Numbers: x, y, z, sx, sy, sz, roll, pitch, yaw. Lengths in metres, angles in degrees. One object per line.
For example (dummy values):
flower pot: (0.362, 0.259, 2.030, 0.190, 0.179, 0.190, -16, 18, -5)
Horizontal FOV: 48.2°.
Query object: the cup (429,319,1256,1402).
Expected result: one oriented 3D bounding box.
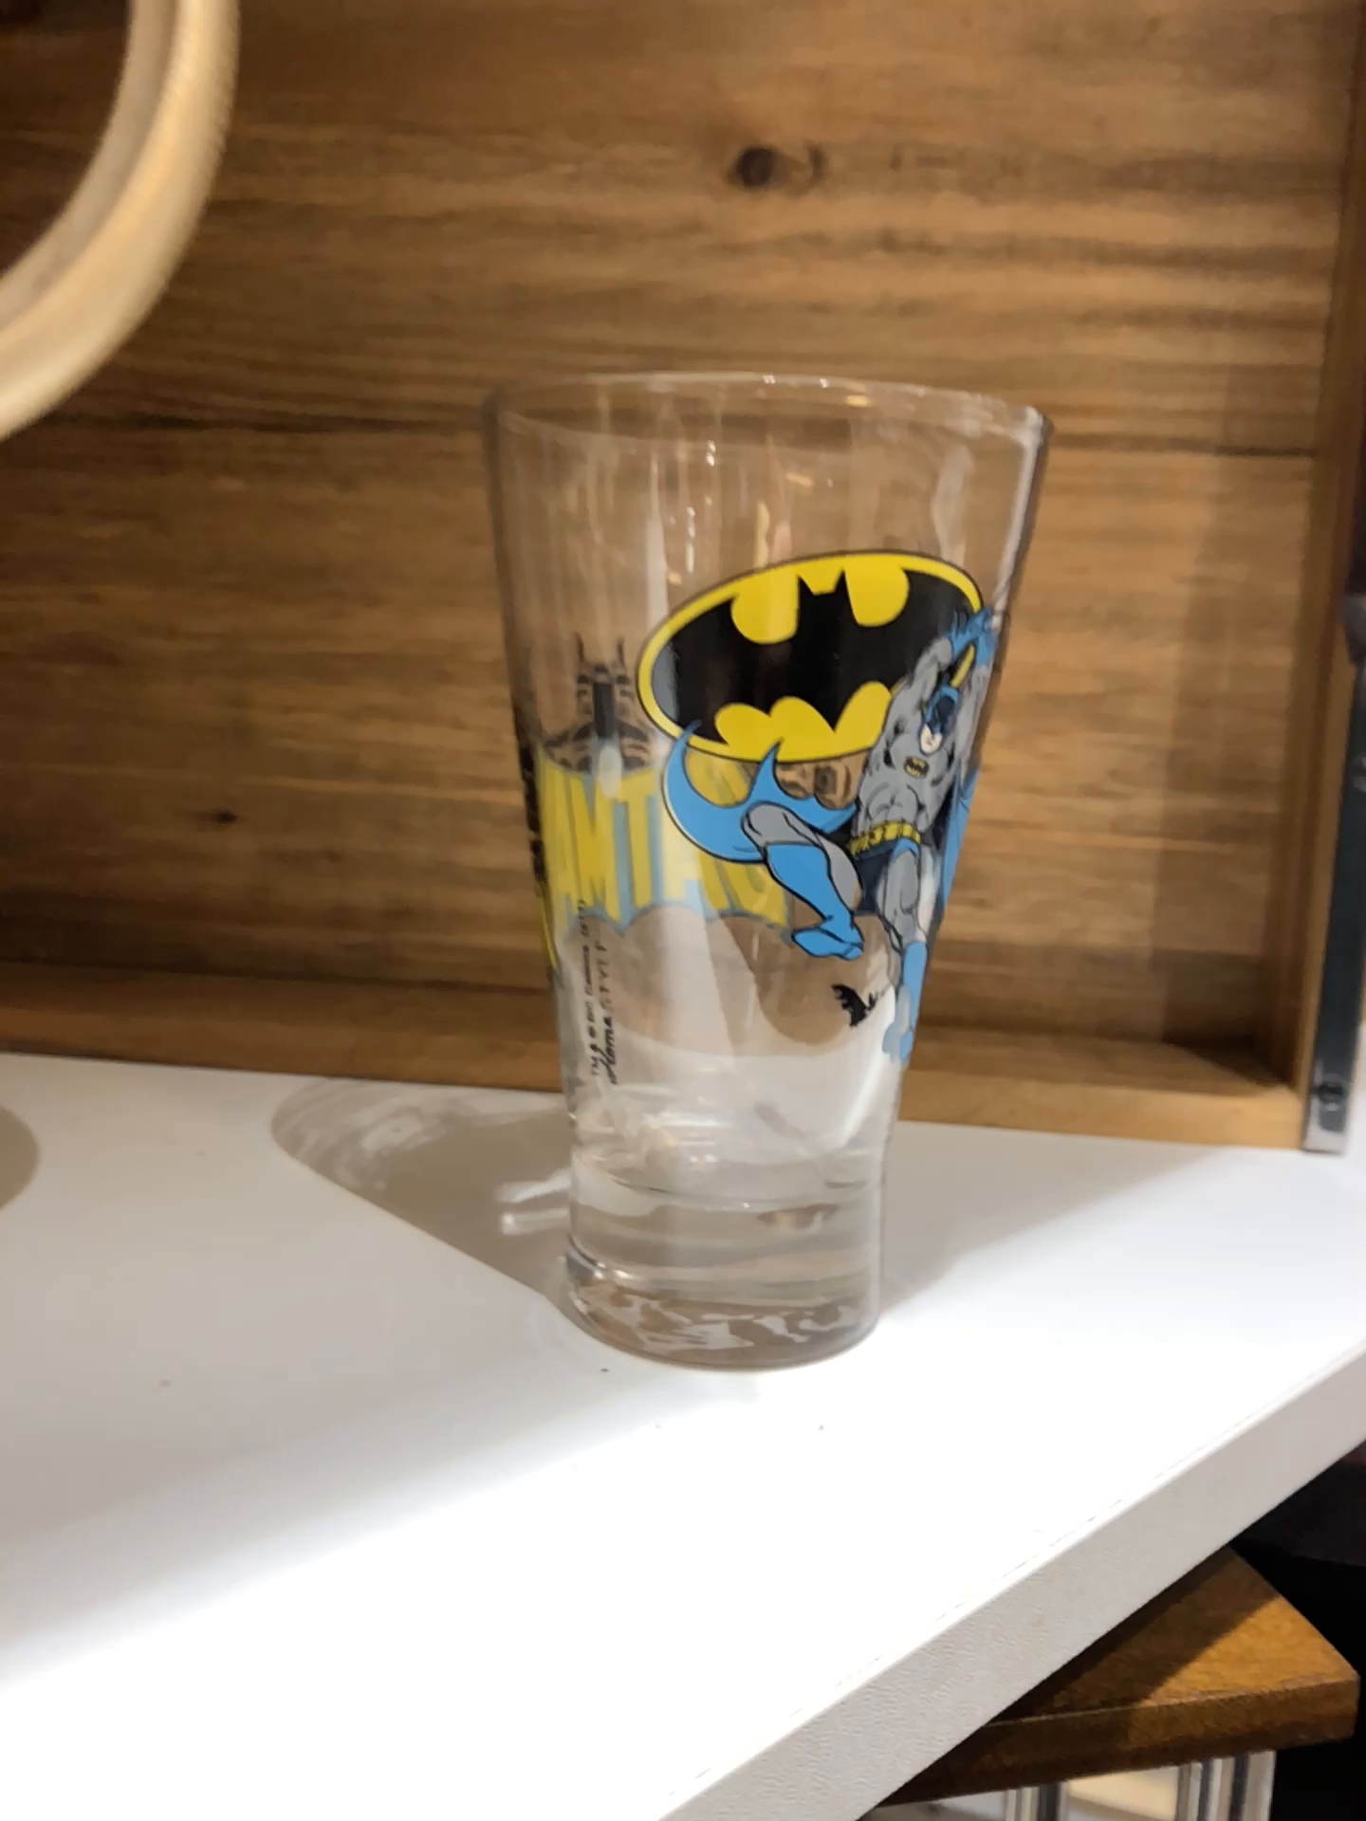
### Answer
cup: (0.020, -0.013, 0.238, 0.090, 0.130, 0.080, -4, 13, -33)
